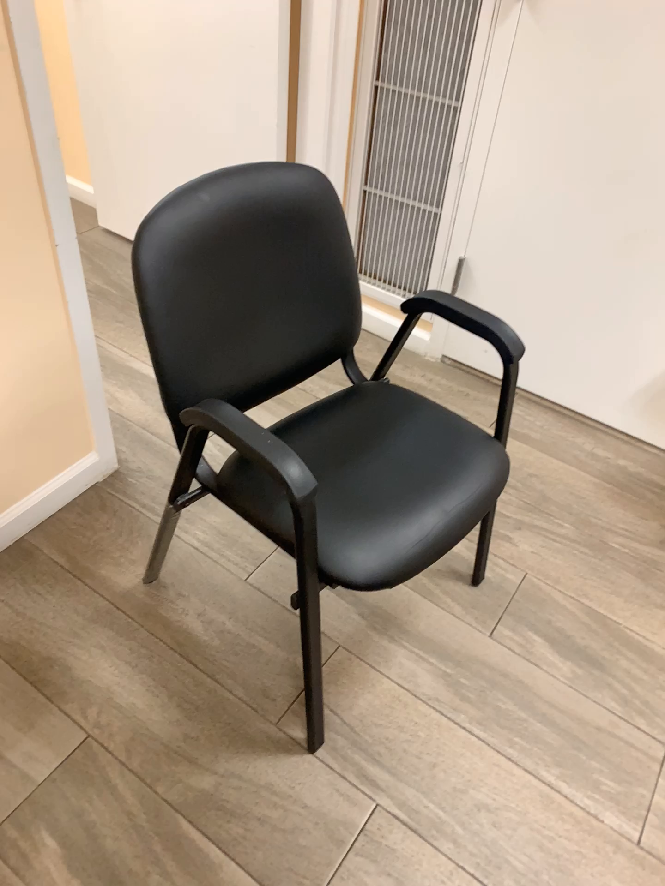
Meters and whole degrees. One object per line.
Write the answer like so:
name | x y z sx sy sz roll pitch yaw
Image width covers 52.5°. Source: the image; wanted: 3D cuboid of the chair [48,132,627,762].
chair | -0.012 -0.015 1.264 0.606 0.817 0.607 35 49 29
